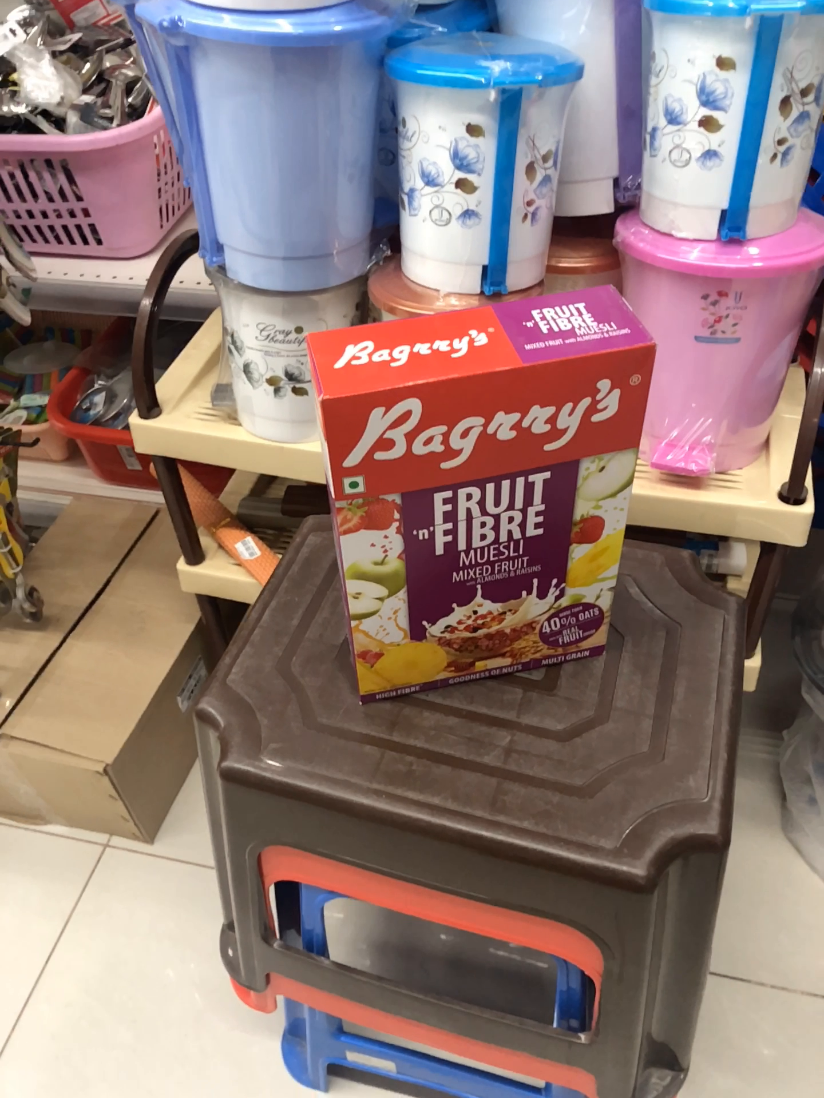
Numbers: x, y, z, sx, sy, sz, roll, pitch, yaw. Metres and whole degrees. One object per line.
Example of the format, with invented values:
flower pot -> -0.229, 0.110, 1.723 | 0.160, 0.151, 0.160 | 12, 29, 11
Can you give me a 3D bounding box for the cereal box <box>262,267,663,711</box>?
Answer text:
cereal box -> 0.030, -0.025, 0.570 | 0.200, 0.259, 0.070 | -10, 44, -7
